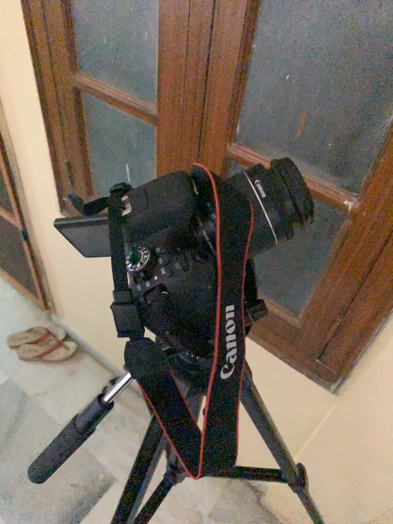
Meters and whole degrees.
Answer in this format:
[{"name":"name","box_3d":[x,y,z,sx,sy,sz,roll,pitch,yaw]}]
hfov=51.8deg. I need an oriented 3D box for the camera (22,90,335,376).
[{"name":"camera","box_3d":[-0.021,-0.027,0.354,0.225,0.100,0.142,-25,49,2]}]
